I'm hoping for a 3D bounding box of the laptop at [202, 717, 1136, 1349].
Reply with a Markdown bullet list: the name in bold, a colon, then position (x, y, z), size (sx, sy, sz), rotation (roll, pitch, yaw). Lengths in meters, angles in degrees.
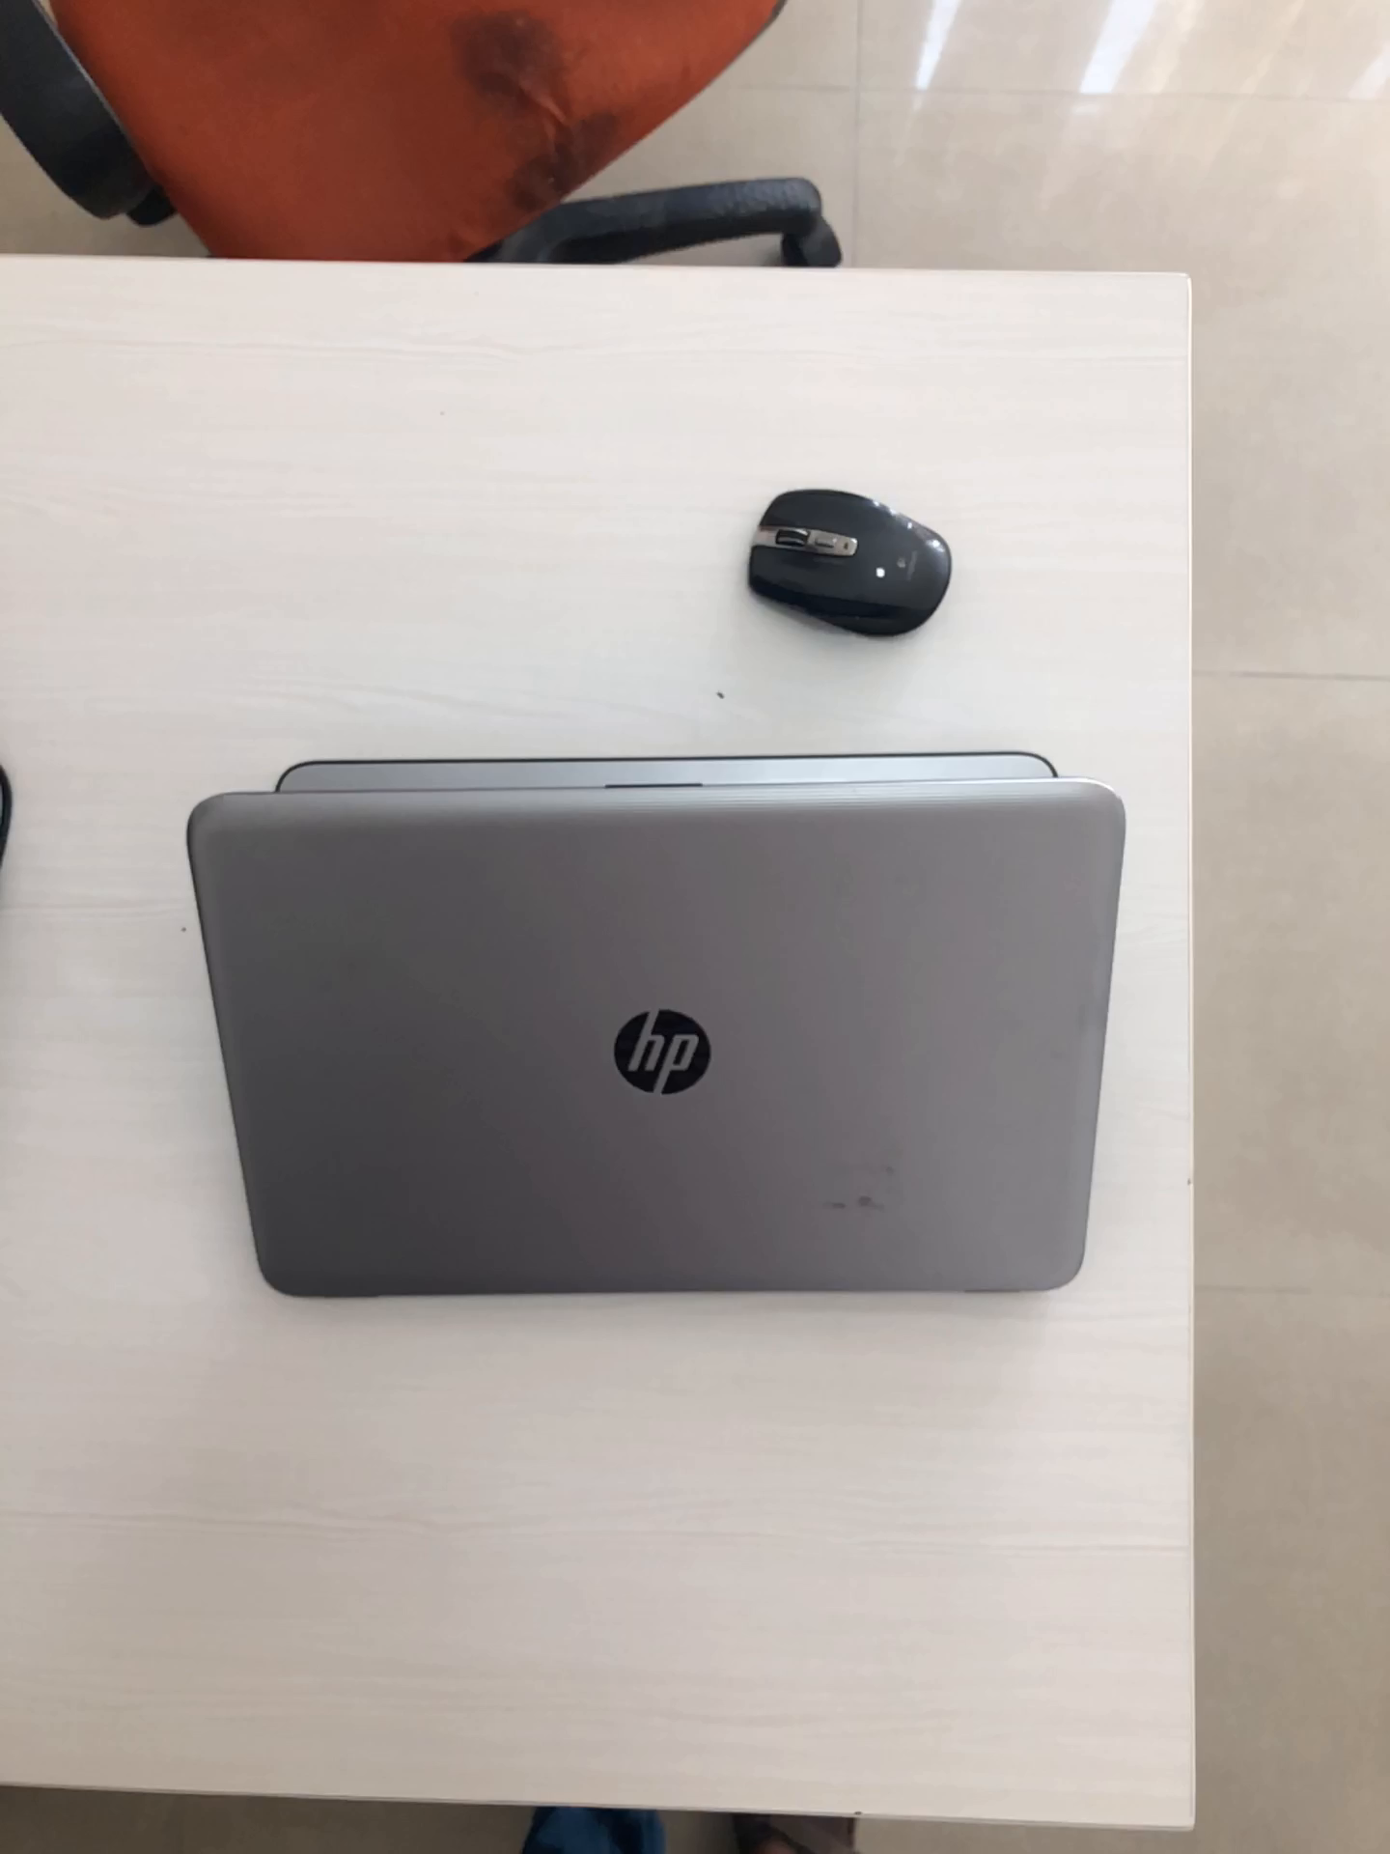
- **laptop**: position (-0.014, 0.046, 0.678), size (0.369, 0.121, 0.251), rotation (-1, 86, 2)
